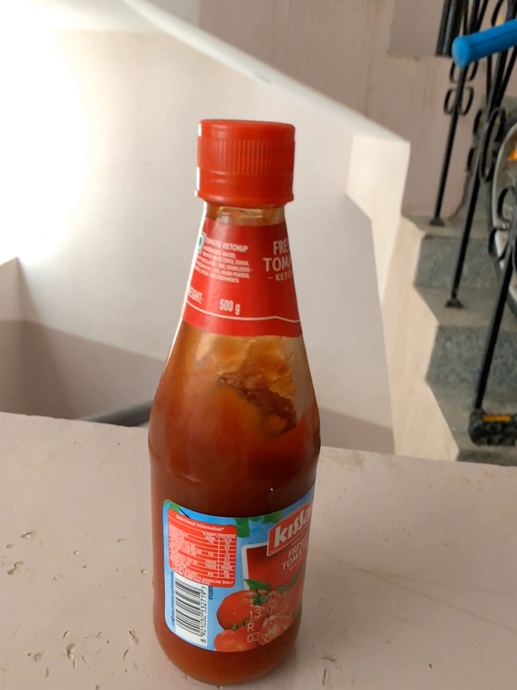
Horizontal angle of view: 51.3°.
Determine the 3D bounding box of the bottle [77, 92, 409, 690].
[{"bbox_3d":[-0.008,0.031,0.199,0.070,0.219,0.070,3,22,-1],"label":"bottle"}]
